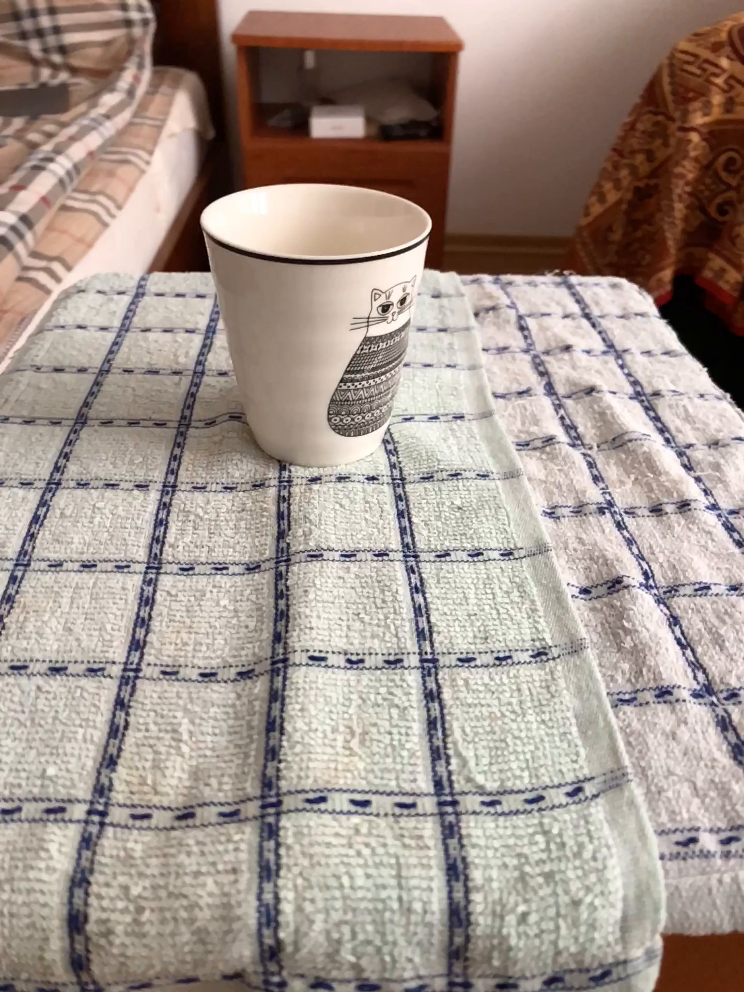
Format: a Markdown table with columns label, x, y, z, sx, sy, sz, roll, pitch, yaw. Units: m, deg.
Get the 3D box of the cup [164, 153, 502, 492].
| label | x | y | z | sx | sy | sz | roll | pitch | yaw |
| --- | --- | --- | --- | --- | --- | --- | --- | --- | --- |
| cup | -0.011 | -0.083 | 0.359 | 0.090 | 0.090 | 0.124 | 17 | 39 | 19 |
